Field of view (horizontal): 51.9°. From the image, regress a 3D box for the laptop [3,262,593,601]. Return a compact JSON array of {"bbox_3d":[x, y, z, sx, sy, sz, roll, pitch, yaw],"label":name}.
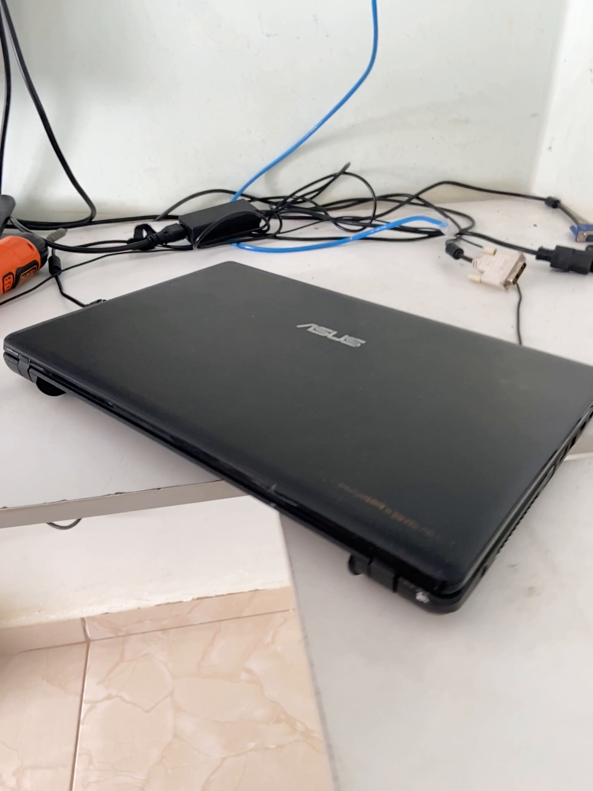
[{"bbox_3d":[-0.001,-0.025,0.454,0.381,0.010,0.254,23,37,33],"label":"laptop"}]
